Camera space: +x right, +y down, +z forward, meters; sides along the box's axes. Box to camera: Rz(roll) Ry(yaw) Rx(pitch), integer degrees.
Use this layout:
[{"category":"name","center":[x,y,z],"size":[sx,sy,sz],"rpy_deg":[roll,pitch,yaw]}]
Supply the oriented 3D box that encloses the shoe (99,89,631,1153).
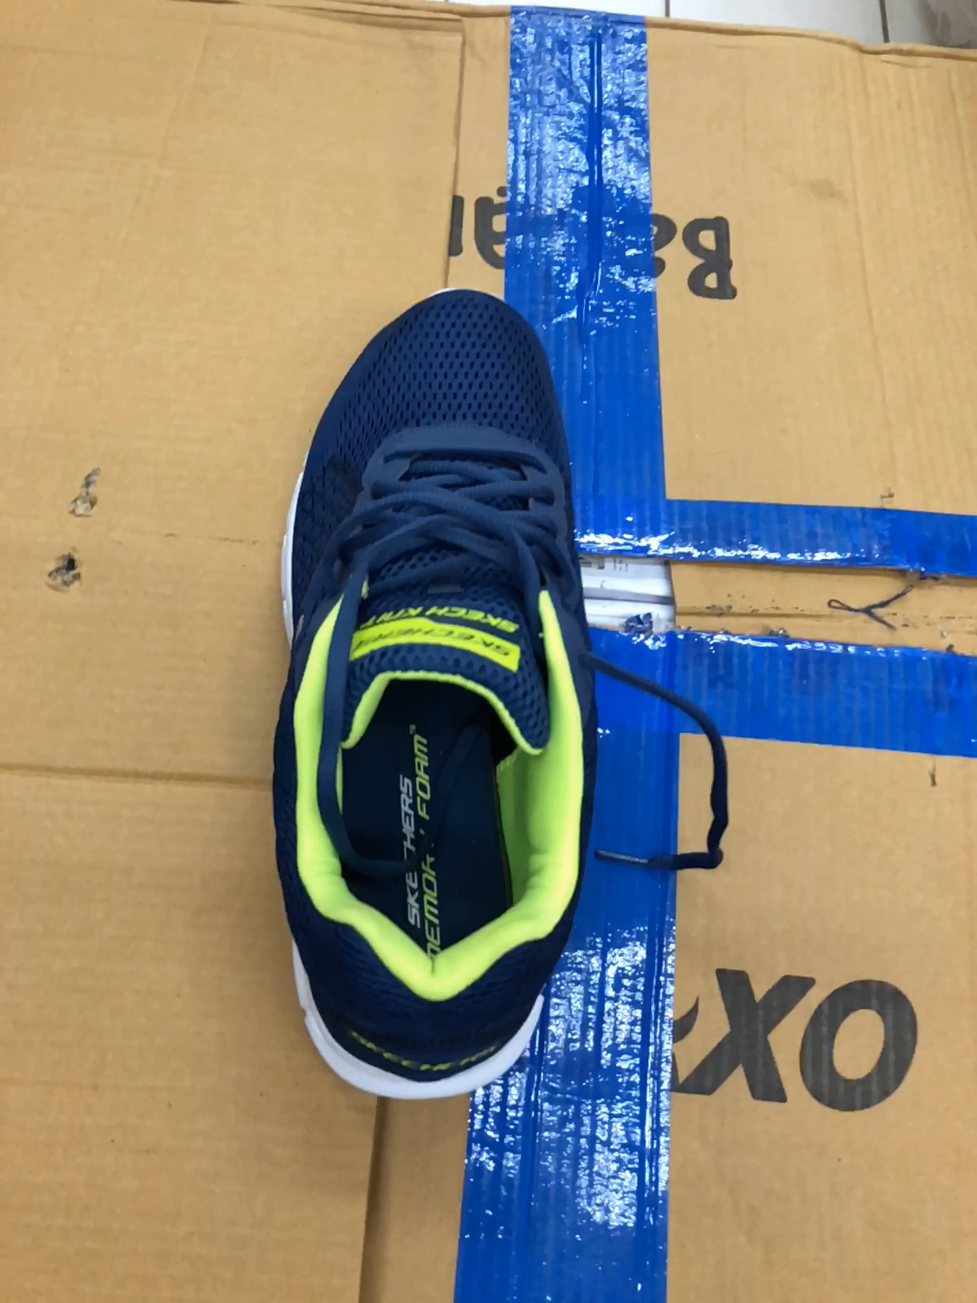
[{"category":"shoe","center":[-0.031,-0.010,0.336],"size":[0.110,0.130,0.291],"rpy_deg":[0,69,-3]}]
